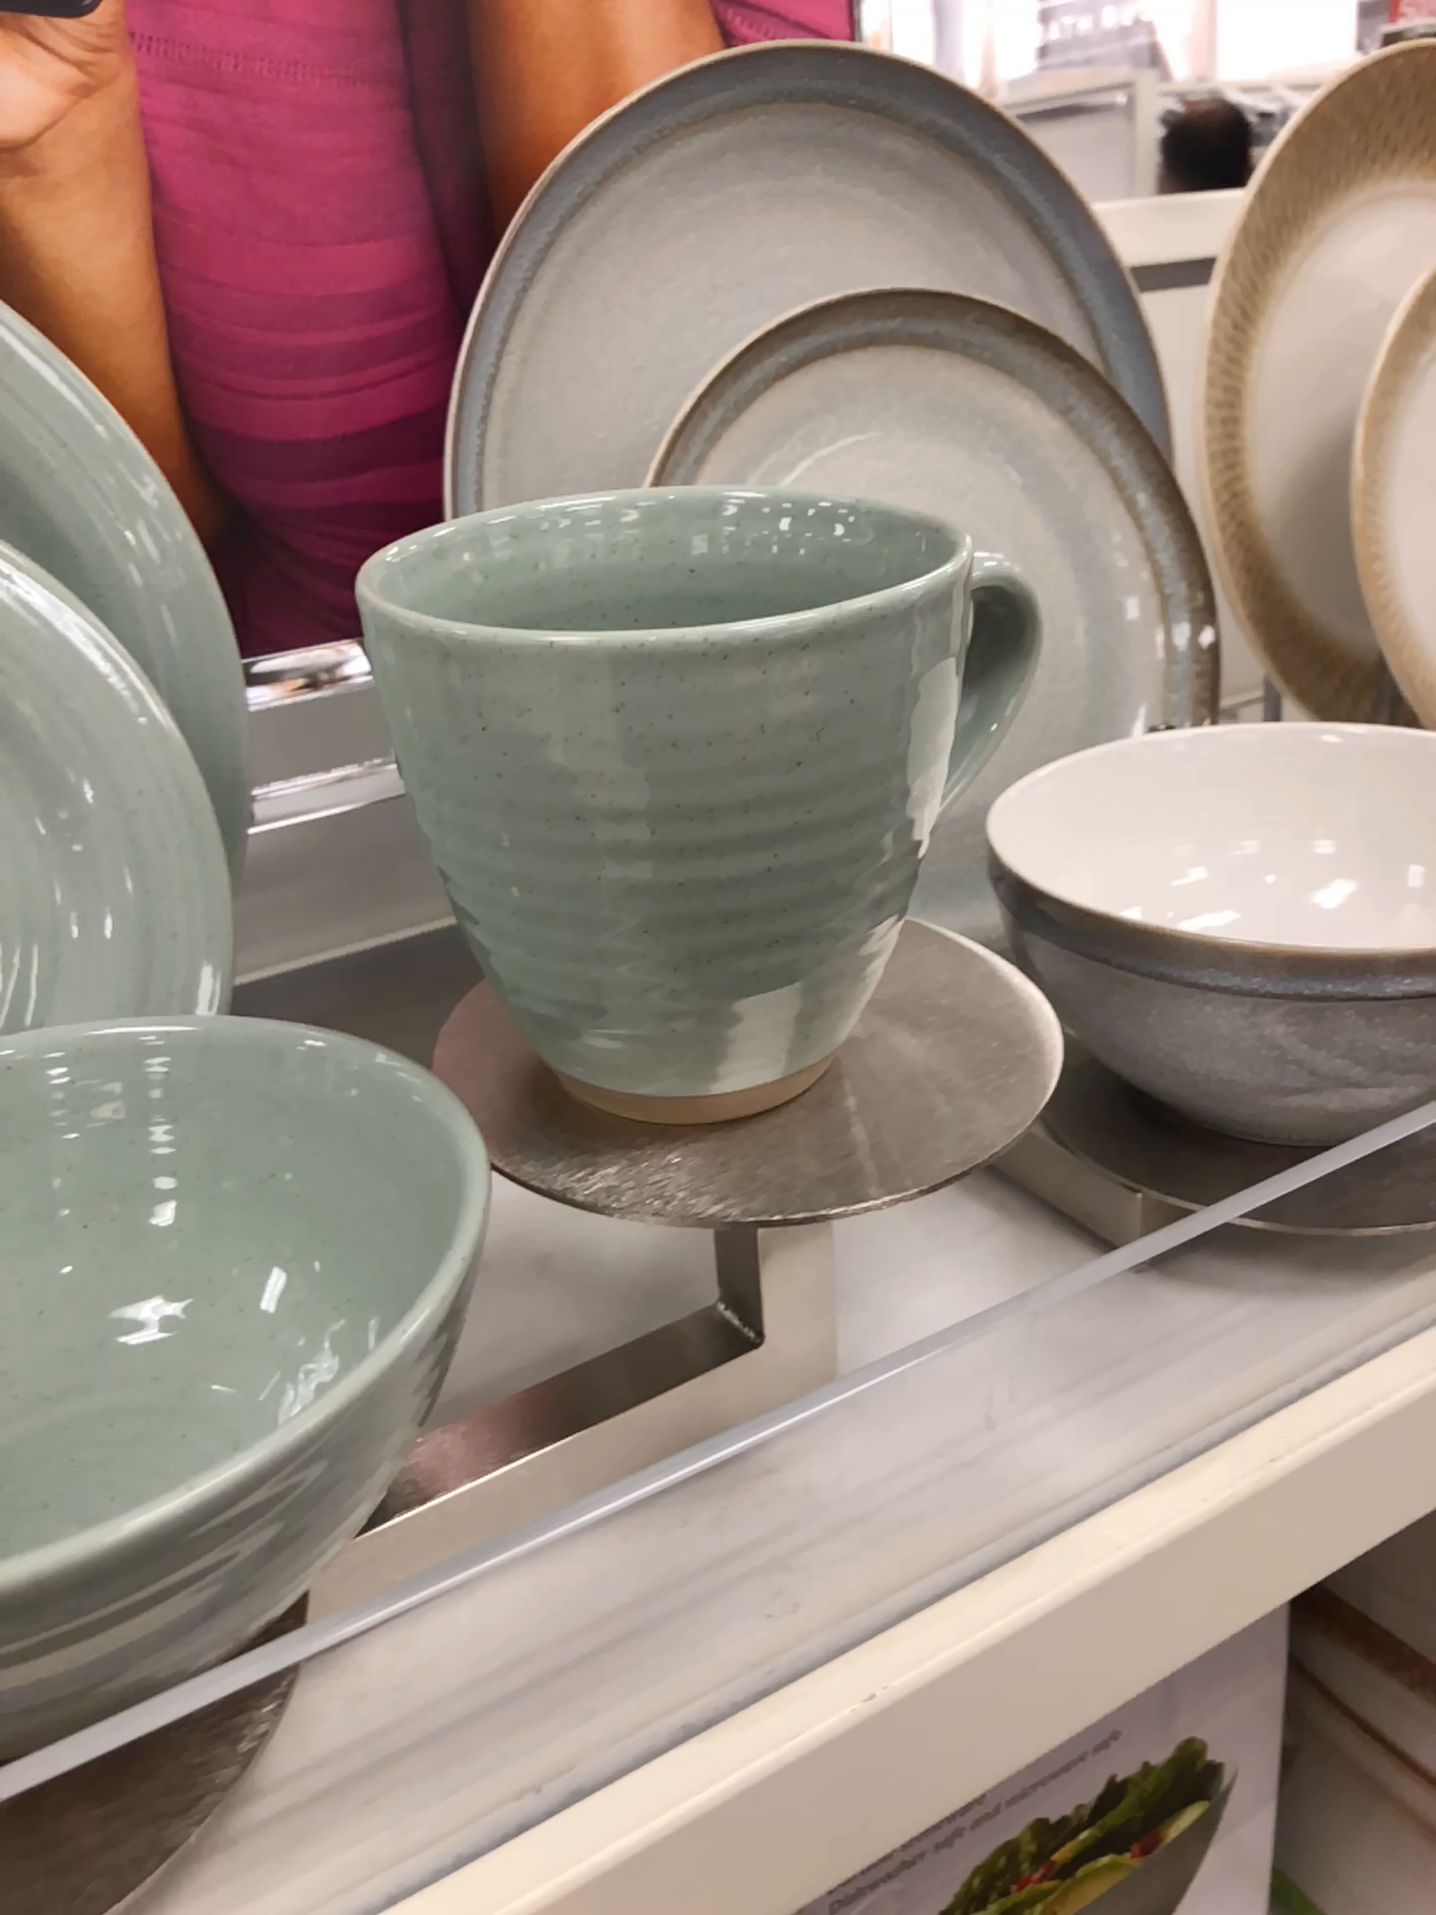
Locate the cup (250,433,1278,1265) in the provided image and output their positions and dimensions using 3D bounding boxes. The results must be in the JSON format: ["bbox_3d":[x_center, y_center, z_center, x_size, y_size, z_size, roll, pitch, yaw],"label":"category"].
[{"bbox_3d":[0.009,-0.035,0.289,0.129,0.091,0.116,-23,32,-35],"label":"cup"}]
